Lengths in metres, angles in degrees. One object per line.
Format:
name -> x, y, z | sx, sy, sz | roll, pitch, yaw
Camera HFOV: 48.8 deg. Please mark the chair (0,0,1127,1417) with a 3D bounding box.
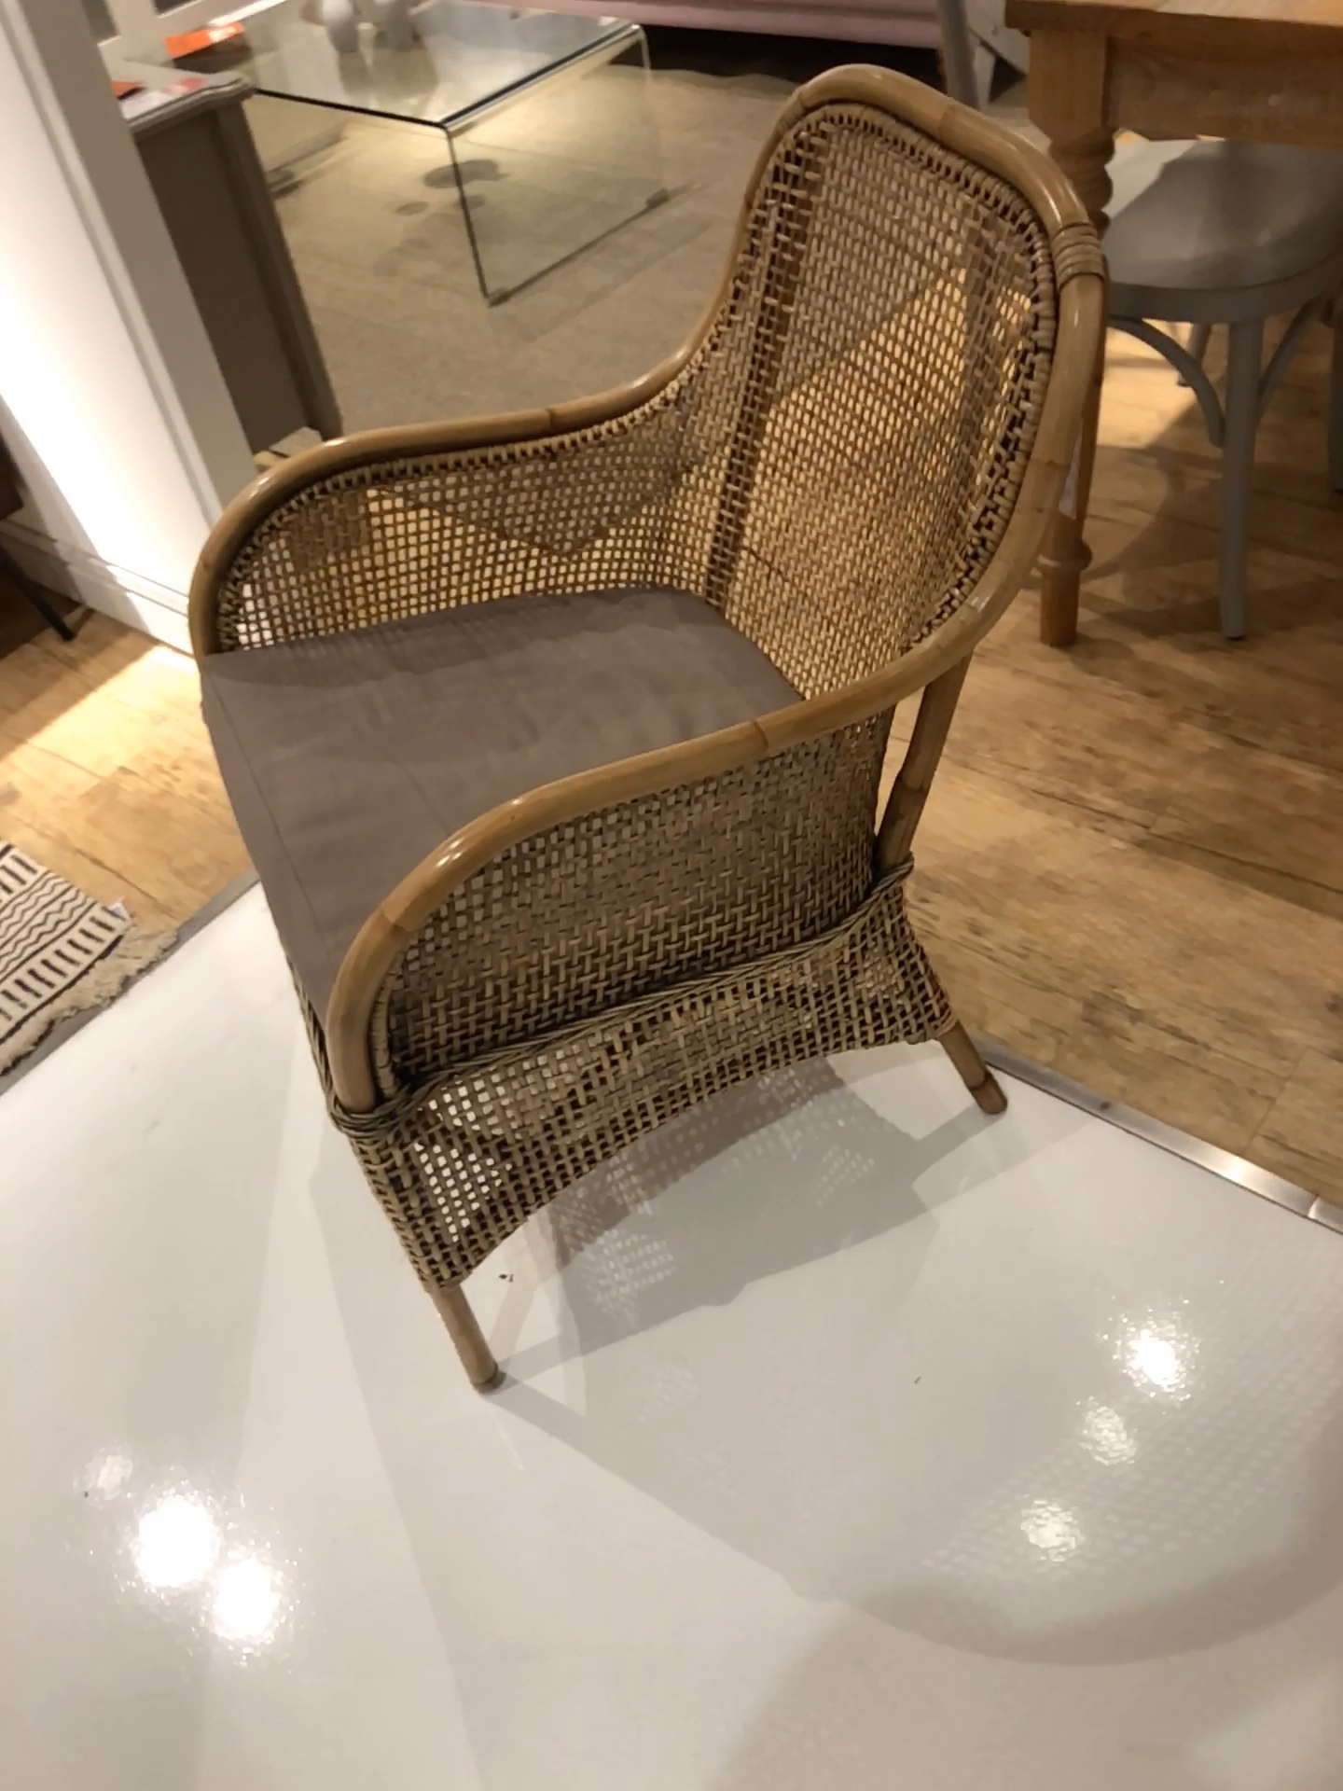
chair -> -0.074, -0.135, 1.256 | 0.621, 0.903, 0.544 | -24, 46, -12
